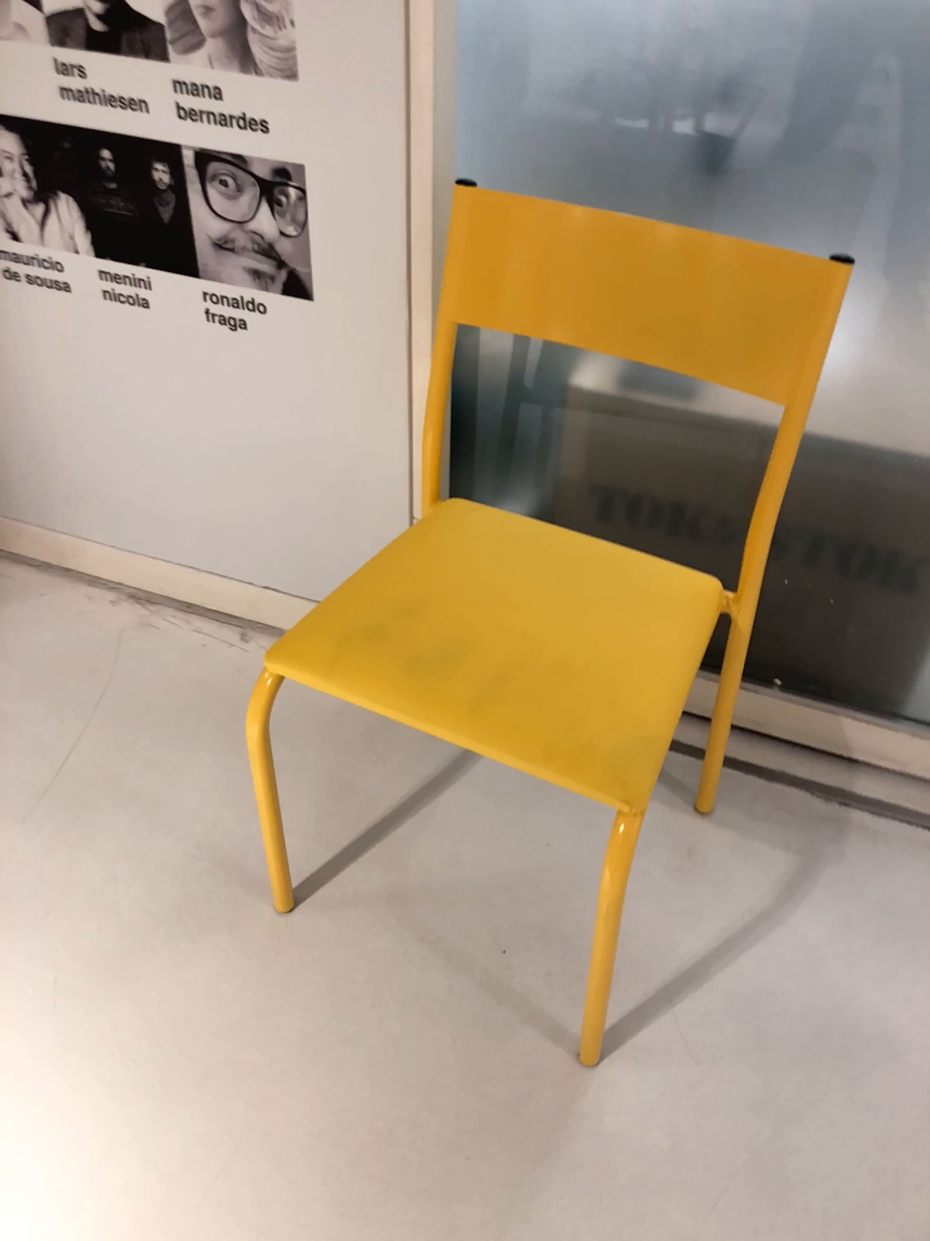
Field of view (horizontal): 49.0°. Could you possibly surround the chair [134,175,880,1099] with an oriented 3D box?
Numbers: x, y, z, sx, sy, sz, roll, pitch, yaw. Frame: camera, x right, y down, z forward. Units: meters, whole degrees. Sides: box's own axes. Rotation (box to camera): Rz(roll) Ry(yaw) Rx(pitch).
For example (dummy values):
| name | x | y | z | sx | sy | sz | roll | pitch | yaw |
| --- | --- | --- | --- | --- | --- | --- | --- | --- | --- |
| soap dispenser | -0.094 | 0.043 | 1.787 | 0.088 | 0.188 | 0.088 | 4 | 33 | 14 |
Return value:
| name | x | y | z | sx | sy | sz | roll | pitch | yaw |
| --- | --- | --- | --- | --- | --- | --- | --- | --- | --- |
| chair | 0.064 | 0.013 | 1.163 | 0.490 | 0.784 | 0.524 | 19 | 43 | 20 |
